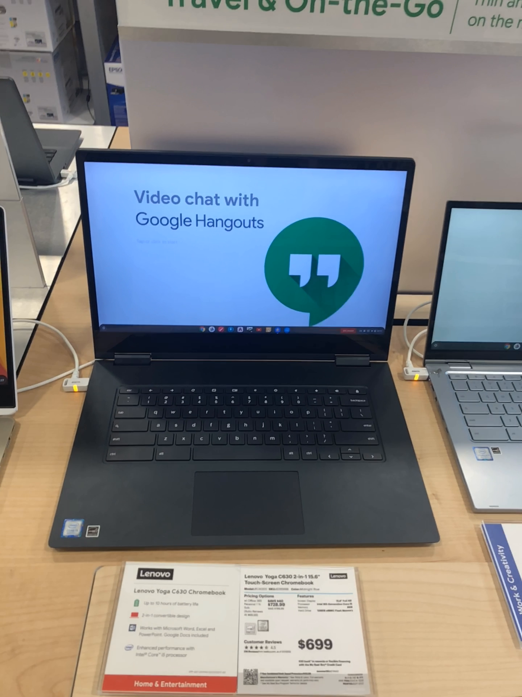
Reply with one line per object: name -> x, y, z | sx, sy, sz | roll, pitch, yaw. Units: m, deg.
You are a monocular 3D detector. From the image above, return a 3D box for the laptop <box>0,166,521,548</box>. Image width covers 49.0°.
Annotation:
laptop -> -0.009, -0.007, 0.552 | 0.343, 0.230, 0.293 | 0, 41, -2
